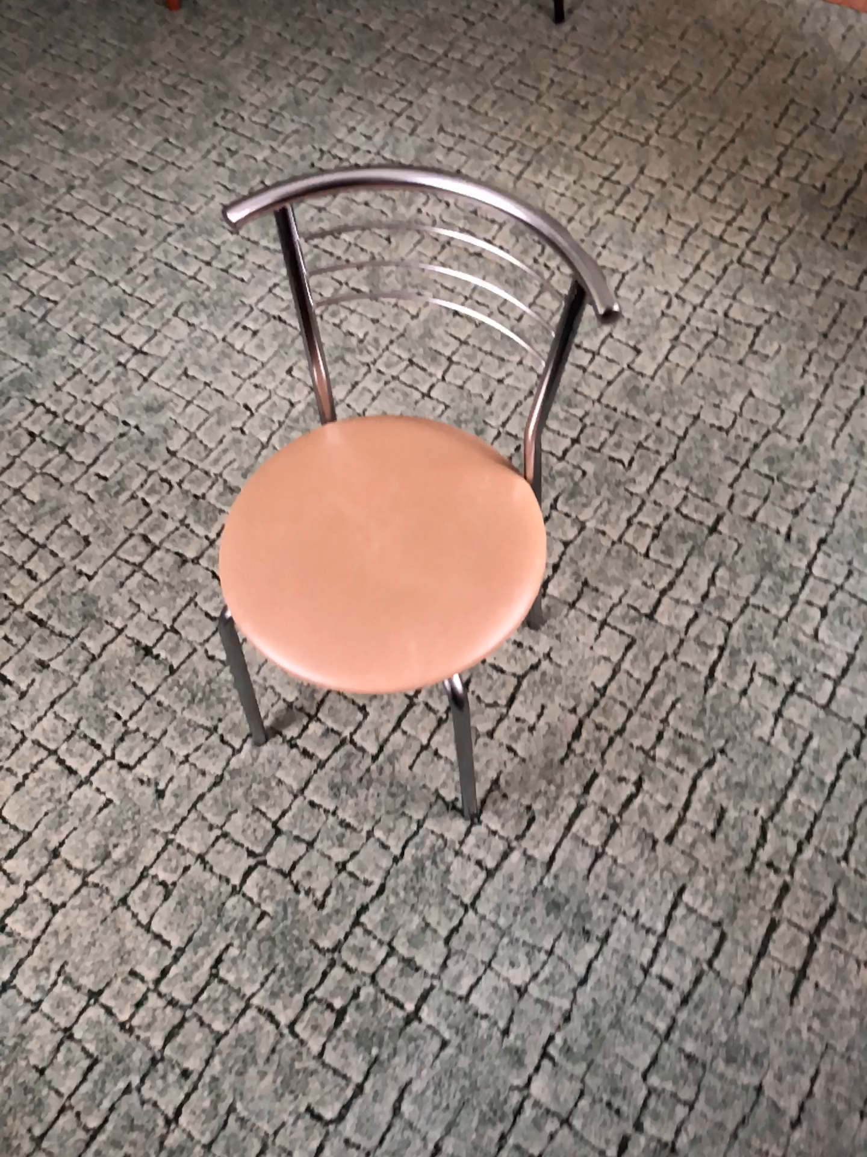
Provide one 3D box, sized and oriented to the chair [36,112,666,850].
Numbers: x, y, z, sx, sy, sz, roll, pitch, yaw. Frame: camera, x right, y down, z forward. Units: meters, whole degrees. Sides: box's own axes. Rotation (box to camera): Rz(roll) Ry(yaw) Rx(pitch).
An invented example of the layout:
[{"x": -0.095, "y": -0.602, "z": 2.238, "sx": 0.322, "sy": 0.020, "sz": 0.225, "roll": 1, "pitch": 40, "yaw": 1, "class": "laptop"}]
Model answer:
[{"x": -0.042, "y": -0.054, "z": 1.224, "sx": 0.443, "sy": 0.805, "sz": 0.452, "roll": 17, "pitch": 60, "yaw": 12, "class": "chair"}]
